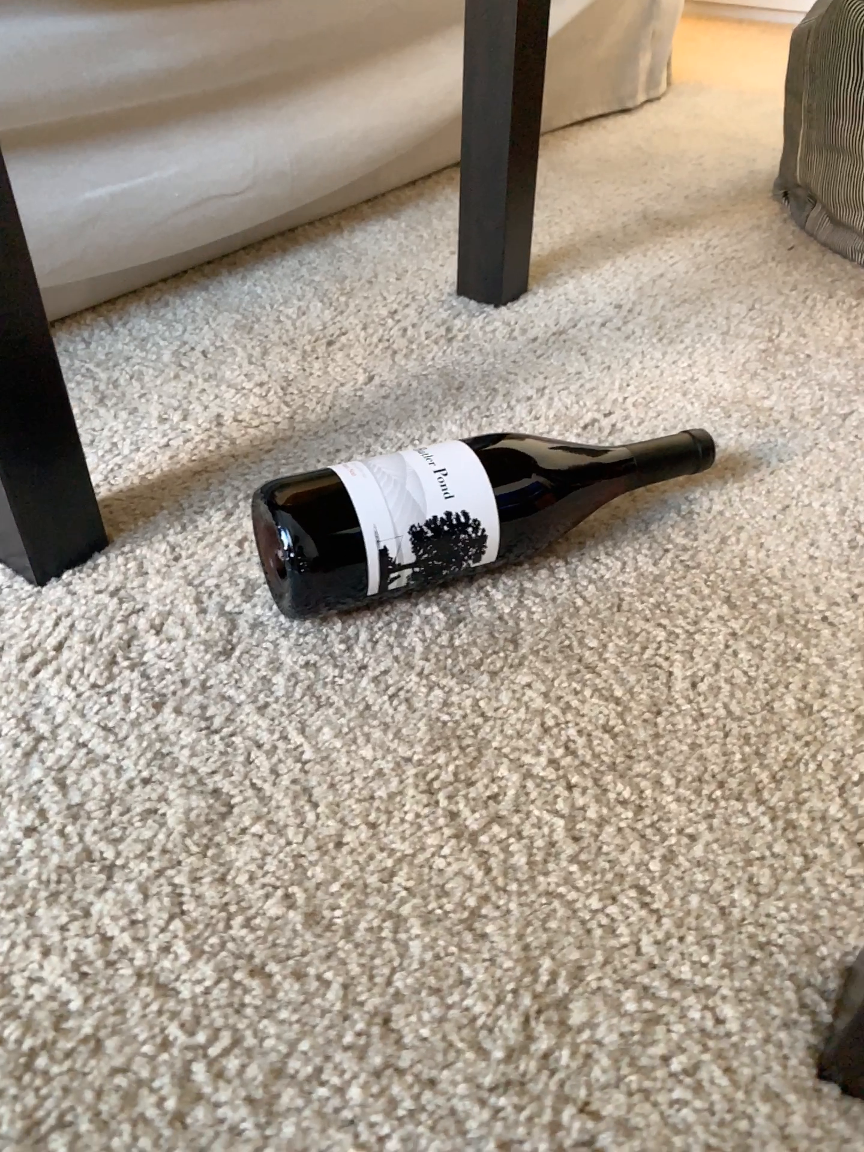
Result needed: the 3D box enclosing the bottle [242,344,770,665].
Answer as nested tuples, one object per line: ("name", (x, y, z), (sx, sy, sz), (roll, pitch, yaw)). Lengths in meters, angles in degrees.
("bottle", (0.043, -0.046, 0.509), (0.280, 0.080, 0.080), (-18, 62, -18))
